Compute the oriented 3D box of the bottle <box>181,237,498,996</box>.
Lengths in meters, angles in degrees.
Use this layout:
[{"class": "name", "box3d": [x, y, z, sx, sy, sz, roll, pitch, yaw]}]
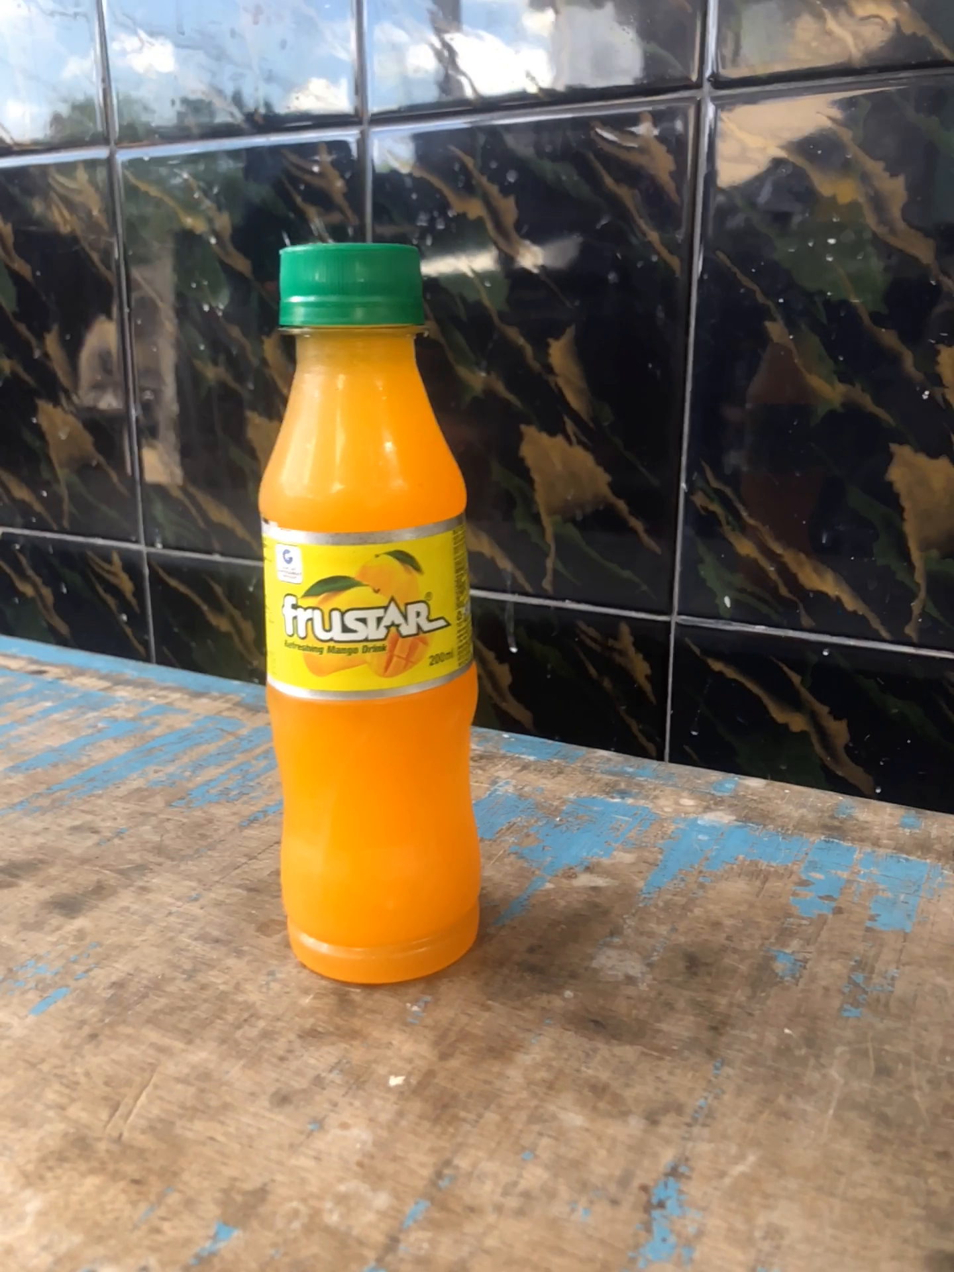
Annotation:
[{"class": "bottle", "box3d": [-0.026, -0.003, 0.255, 0.060, 0.169, 0.050, 1, 16, 4]}]
